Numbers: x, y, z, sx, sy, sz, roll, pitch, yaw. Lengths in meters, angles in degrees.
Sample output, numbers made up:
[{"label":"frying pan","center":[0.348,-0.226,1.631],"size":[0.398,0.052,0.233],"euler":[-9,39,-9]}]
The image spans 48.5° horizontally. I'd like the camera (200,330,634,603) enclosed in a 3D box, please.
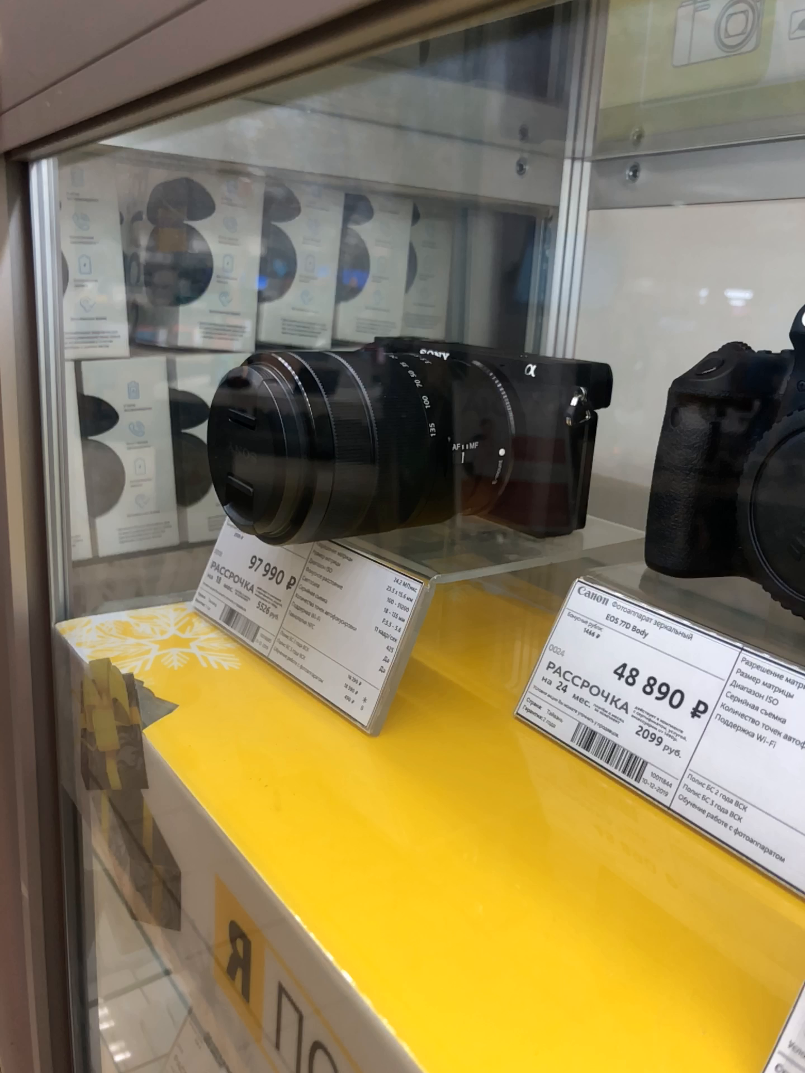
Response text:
[{"label":"camera","center":[-0.001,-0.039,0.368],"size":[0.123,0.080,0.130],"euler":[-7,18,-32]}]
